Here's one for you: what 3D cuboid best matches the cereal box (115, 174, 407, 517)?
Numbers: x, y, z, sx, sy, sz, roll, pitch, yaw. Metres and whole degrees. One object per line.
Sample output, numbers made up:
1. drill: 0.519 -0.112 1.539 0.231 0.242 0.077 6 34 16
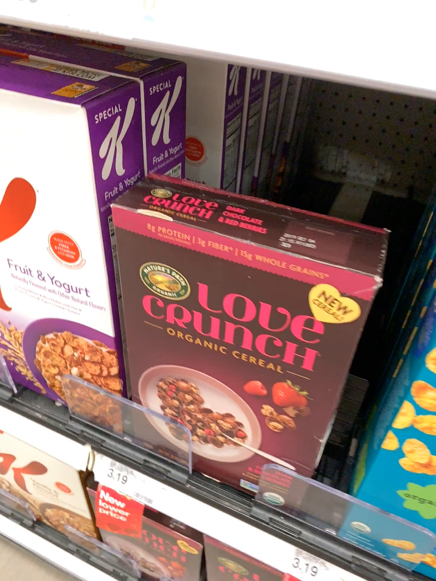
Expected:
1. cereal box: 0.017 0.056 0.337 0.160 0.249 0.050 17 41 16
